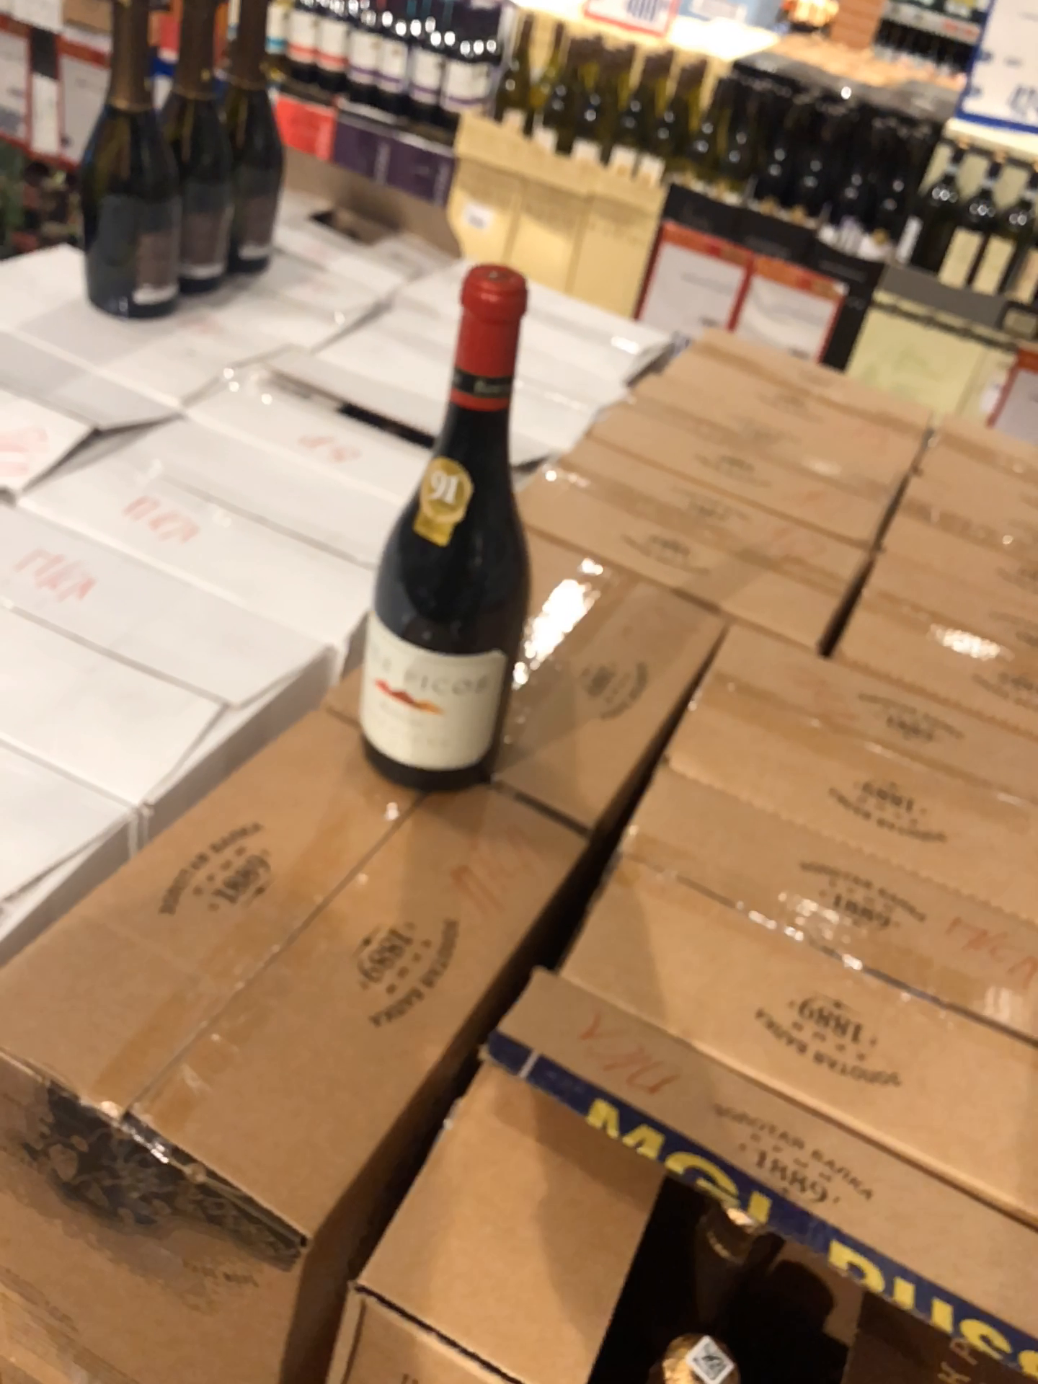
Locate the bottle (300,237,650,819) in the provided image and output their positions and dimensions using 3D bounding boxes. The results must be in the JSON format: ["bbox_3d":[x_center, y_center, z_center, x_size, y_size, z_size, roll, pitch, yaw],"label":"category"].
[{"bbox_3d":[-0.032,-0.079,0.610,0.100,0.268,0.101,9,38,-7],"label":"bottle"}]
